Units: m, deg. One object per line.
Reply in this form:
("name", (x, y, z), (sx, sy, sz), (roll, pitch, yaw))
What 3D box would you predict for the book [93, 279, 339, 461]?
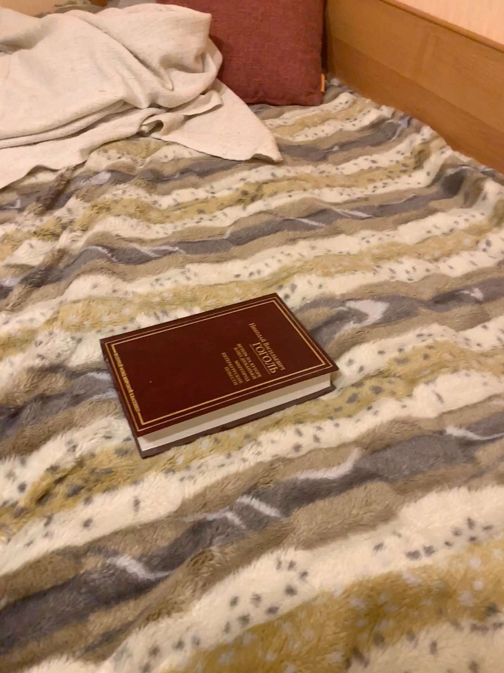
("book", (-0.041, 0.023, 0.540), (0.210, 0.040, 0.150), (-18, 45, -19))
